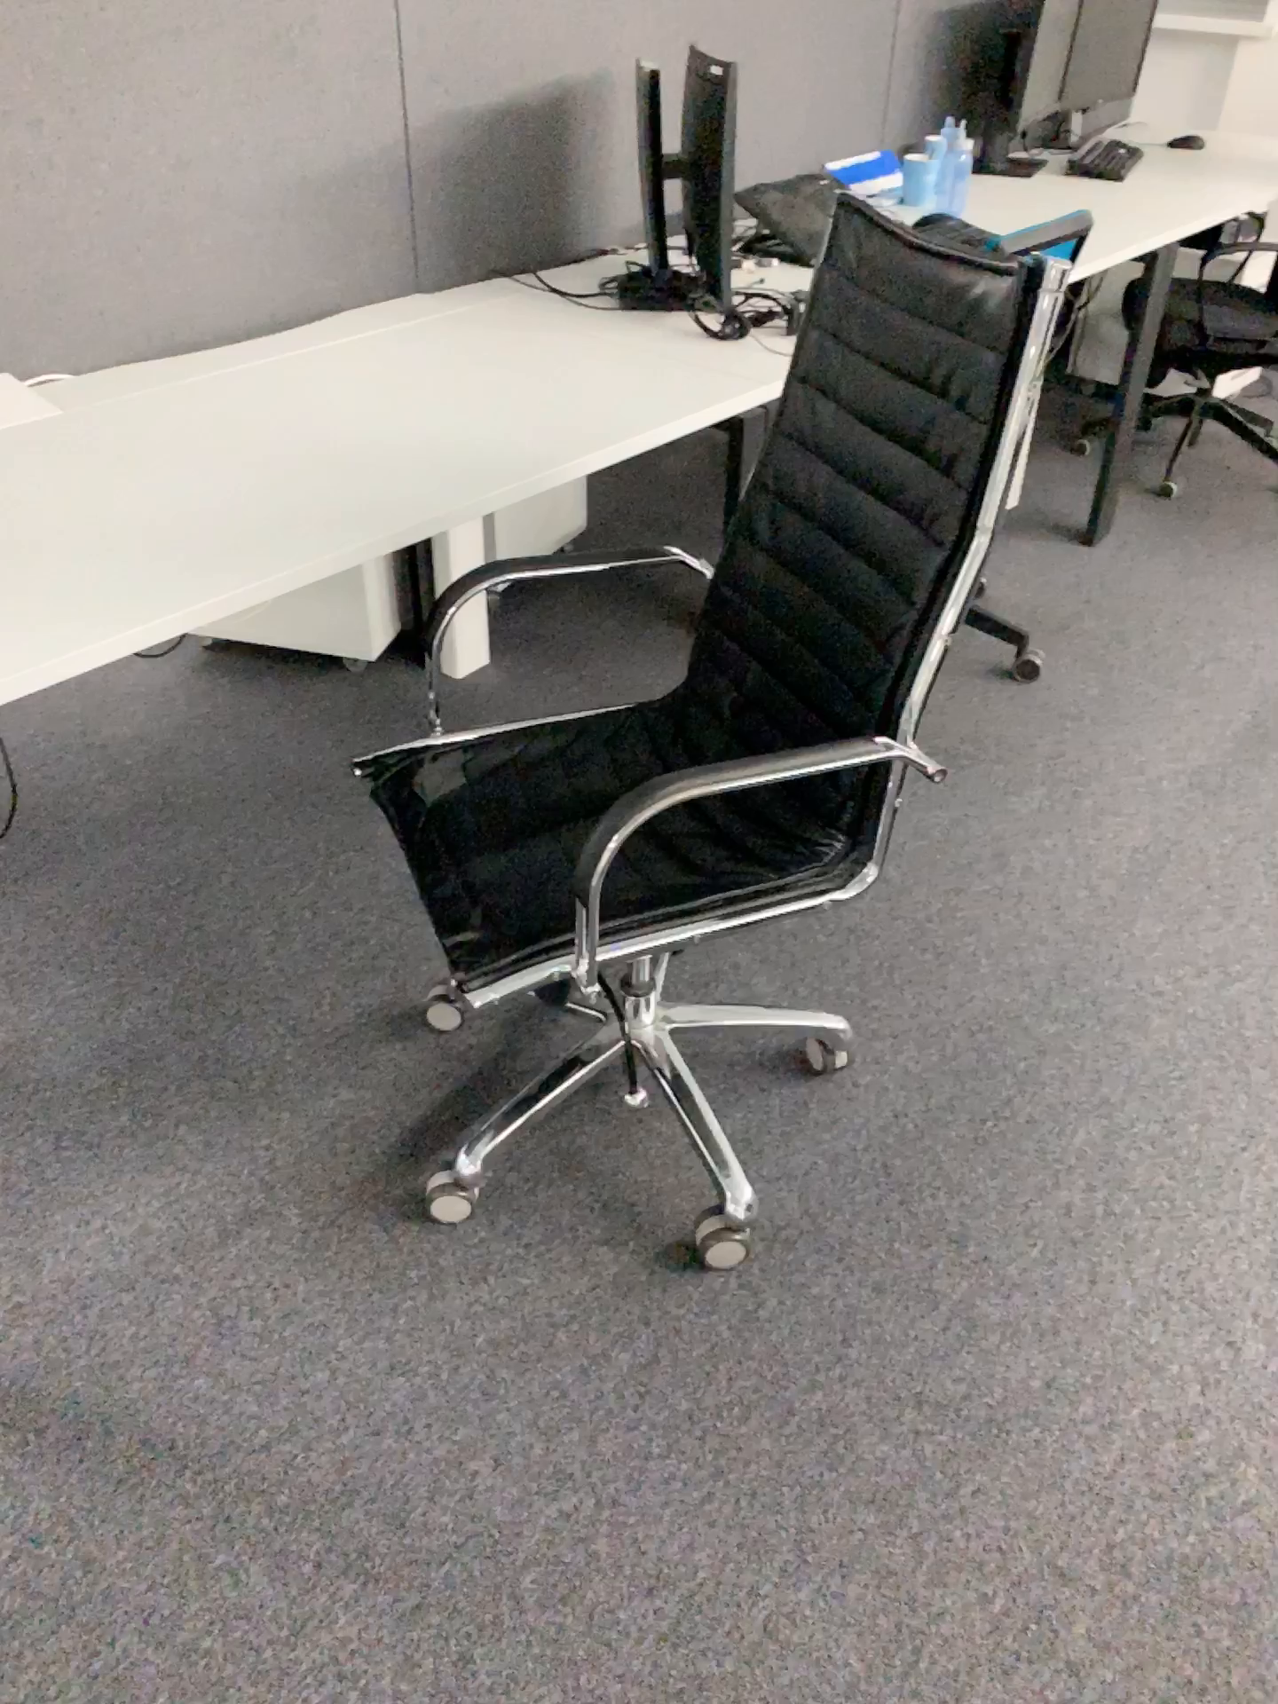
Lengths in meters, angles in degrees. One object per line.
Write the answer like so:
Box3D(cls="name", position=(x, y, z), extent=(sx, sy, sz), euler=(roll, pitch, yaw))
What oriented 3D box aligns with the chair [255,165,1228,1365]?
Box3D(cls="chair", position=(0.027, -0.105, 1.529), extent=(0.691, 1.134, 0.643), euler=(-11, 38, -17))
